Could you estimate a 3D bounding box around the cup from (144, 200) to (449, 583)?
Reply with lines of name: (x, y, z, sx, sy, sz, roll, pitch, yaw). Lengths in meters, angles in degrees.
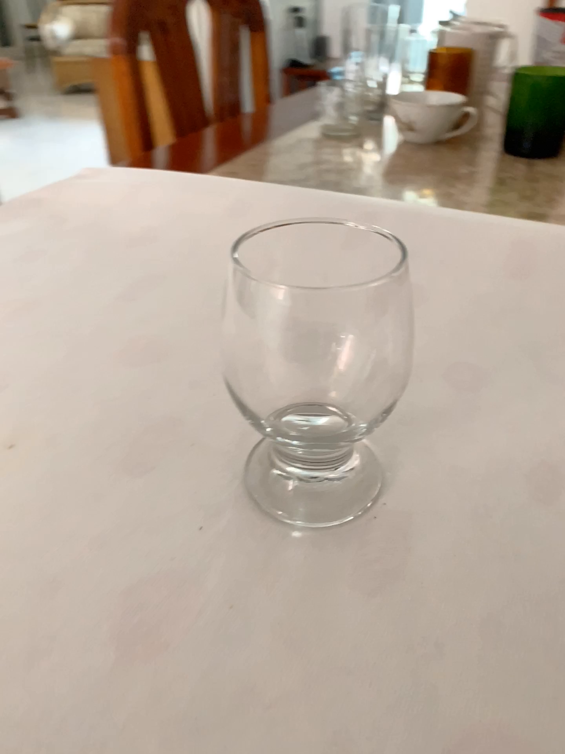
cup: (0.009, 0.002, 0.237, 0.080, 0.112, 0.080, 0, 35, 0)
